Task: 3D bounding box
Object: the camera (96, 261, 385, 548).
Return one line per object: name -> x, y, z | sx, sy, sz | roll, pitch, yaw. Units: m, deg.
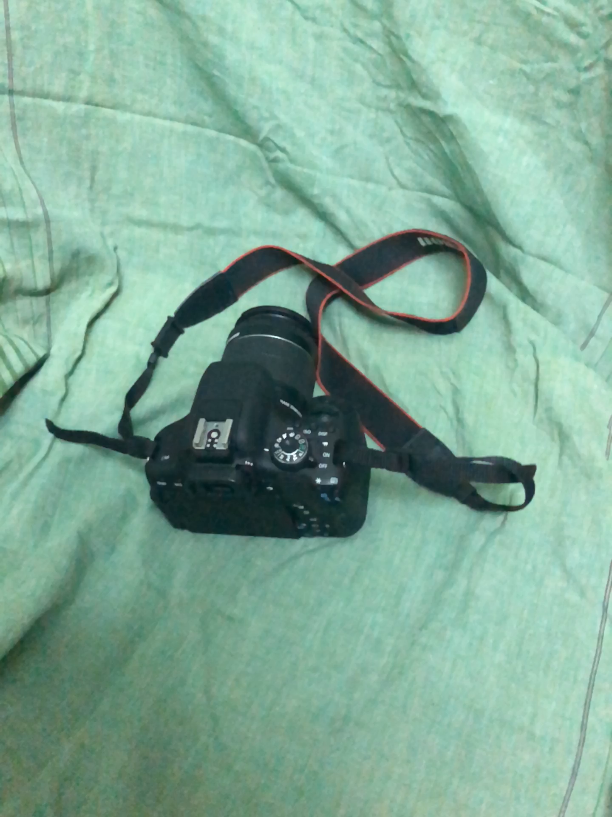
camera -> -0.027, -0.004, 0.428 | 0.142, 0.100, 0.144 | 3, 58, 9
